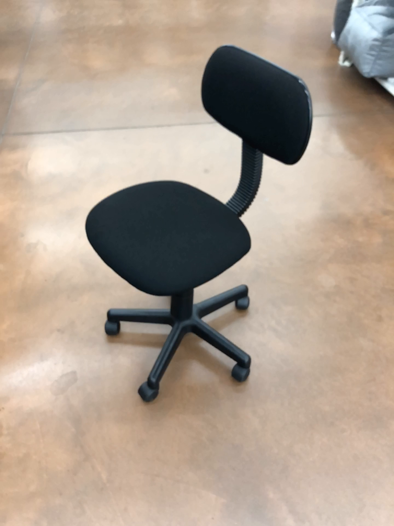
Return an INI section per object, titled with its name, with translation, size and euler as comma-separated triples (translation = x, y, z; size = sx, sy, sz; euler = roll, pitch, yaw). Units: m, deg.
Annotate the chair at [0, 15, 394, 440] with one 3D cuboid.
[chair]
translation = -0.009, -0.131, 1.245
size = 0.661, 0.797, 0.672
euler = -26, 50, -26
